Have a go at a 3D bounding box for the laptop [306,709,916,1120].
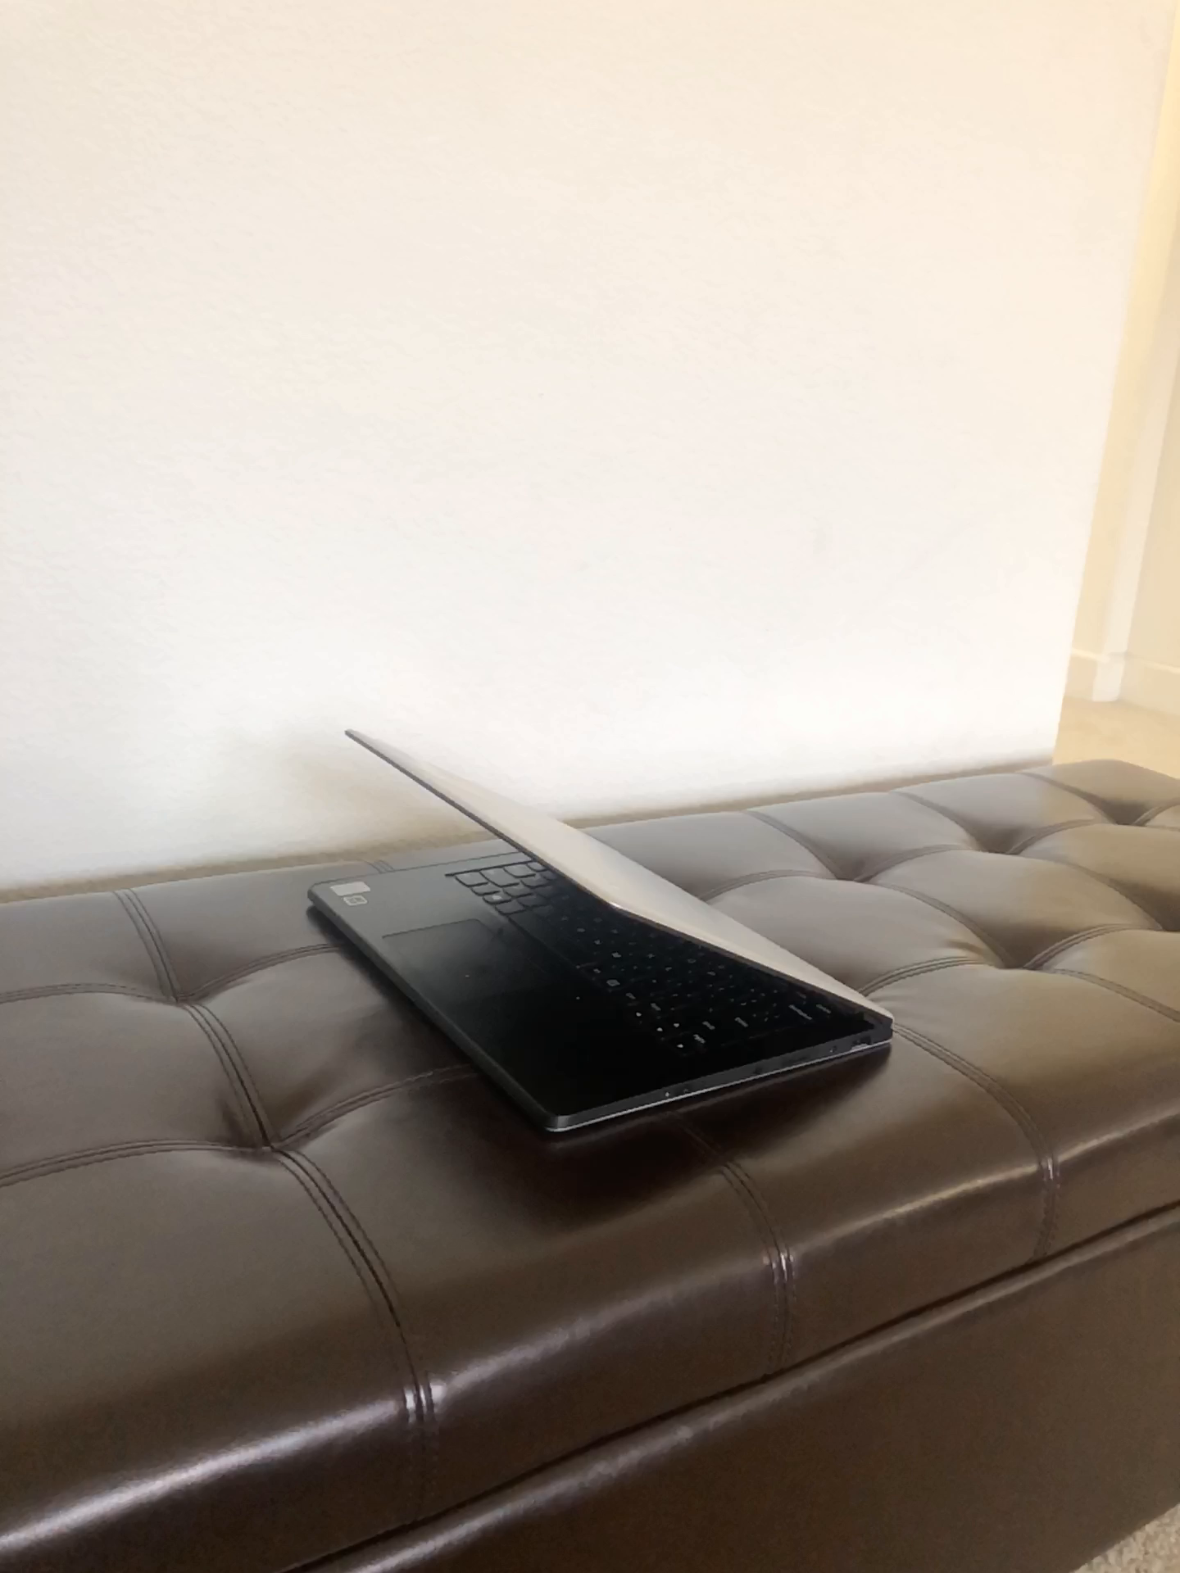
[{"bbox_3d":[-0.007,0.046,0.717,0.198,0.097,0.294,-7,20,-32],"label":"laptop"}]
